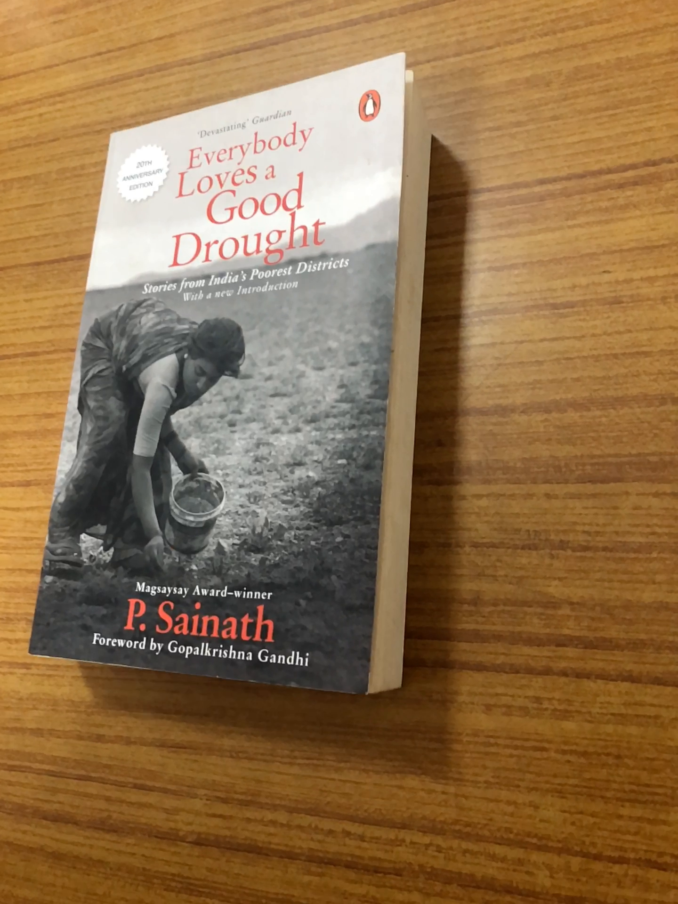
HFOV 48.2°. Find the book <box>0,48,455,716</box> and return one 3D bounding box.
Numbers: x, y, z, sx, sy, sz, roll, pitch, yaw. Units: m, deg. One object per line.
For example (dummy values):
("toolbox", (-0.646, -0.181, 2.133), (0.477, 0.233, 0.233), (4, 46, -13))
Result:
("book", (-0.037, -0.026, 0.272), (0.140, 0.040, 0.210), (0, 77, 22))
